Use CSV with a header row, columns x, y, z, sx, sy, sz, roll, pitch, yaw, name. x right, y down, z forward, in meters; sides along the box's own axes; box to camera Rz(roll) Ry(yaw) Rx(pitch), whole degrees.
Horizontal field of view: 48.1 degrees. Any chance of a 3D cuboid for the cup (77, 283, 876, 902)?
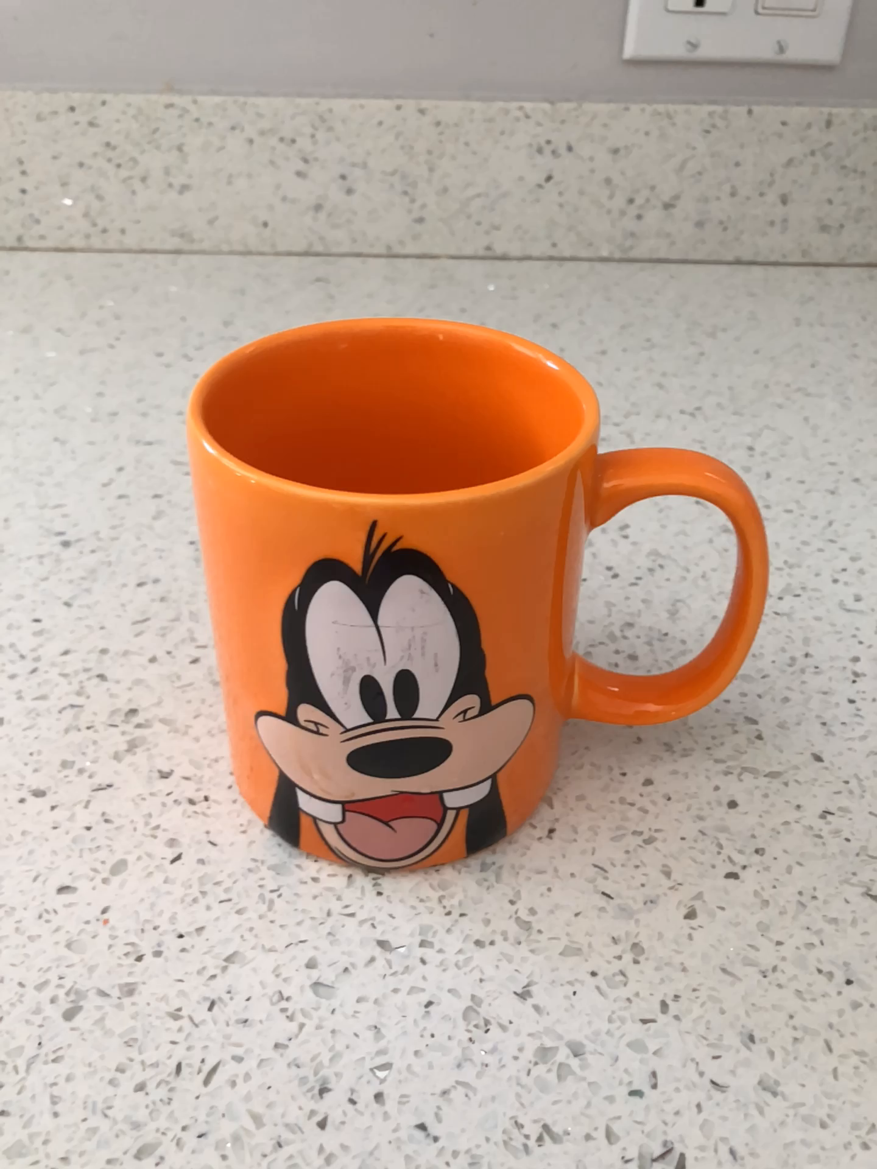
x,y,z,sx,sy,sz,roll,pitch,yaw,name
0.008,-0.001,0.222,0.130,0.101,0.090,2,35,2,cup
